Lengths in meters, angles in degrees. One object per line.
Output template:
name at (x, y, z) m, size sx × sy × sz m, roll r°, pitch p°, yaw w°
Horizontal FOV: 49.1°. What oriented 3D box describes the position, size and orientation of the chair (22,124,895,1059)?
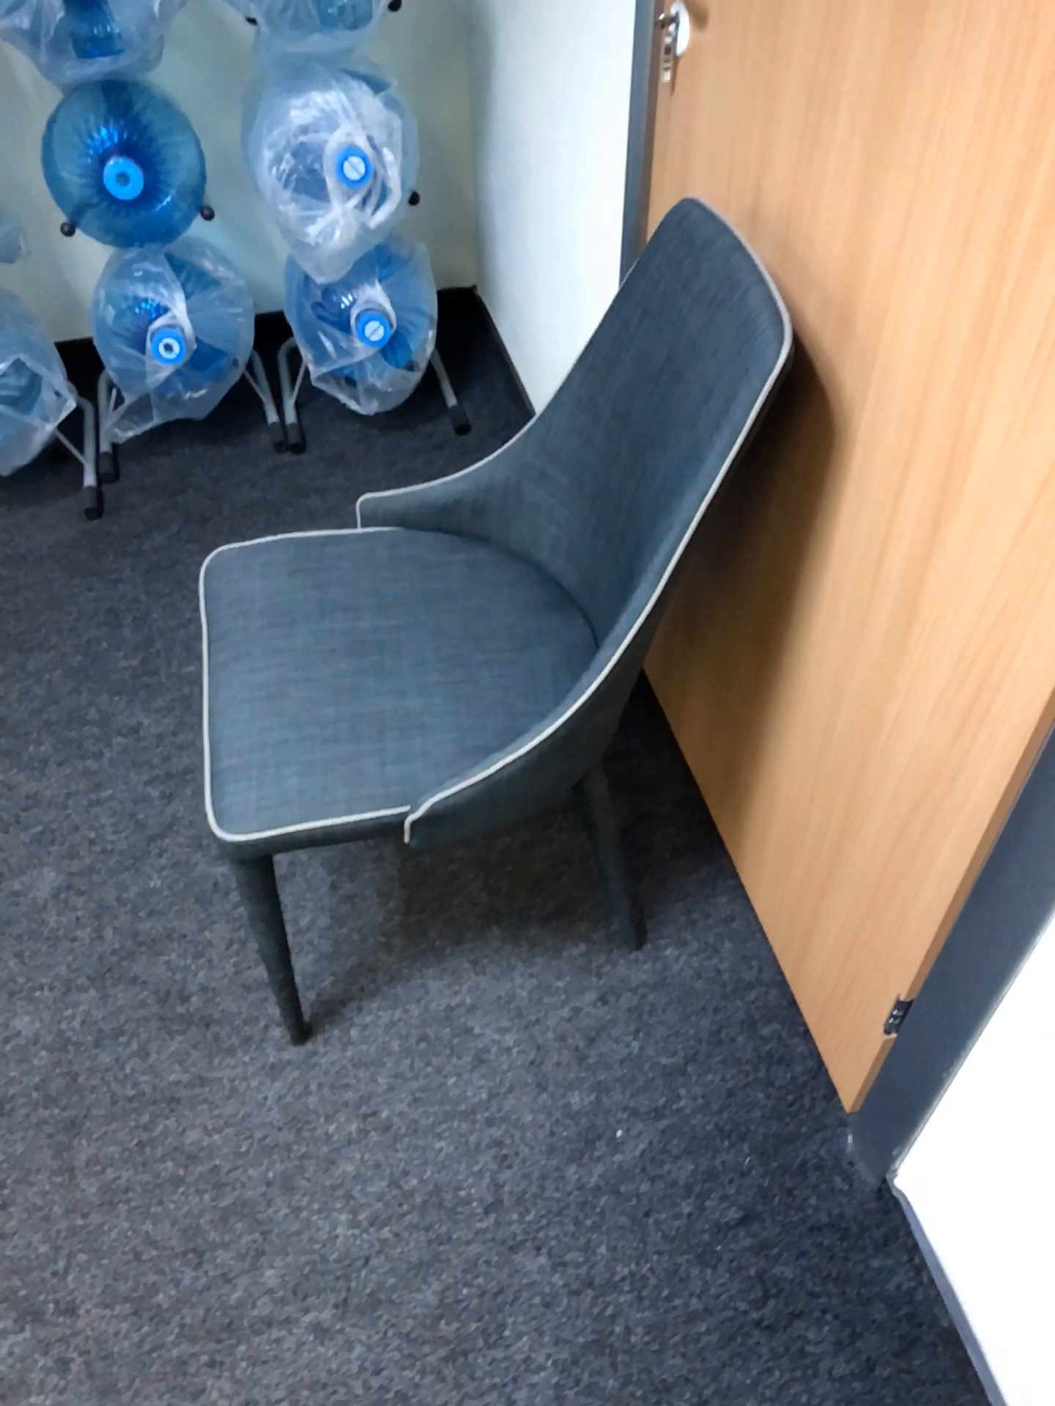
chair at (-0.085, -0.090, 1.320) m, size 0.640 × 0.844 × 0.523 m, roll -9°, pitch 48°, yaw -8°
